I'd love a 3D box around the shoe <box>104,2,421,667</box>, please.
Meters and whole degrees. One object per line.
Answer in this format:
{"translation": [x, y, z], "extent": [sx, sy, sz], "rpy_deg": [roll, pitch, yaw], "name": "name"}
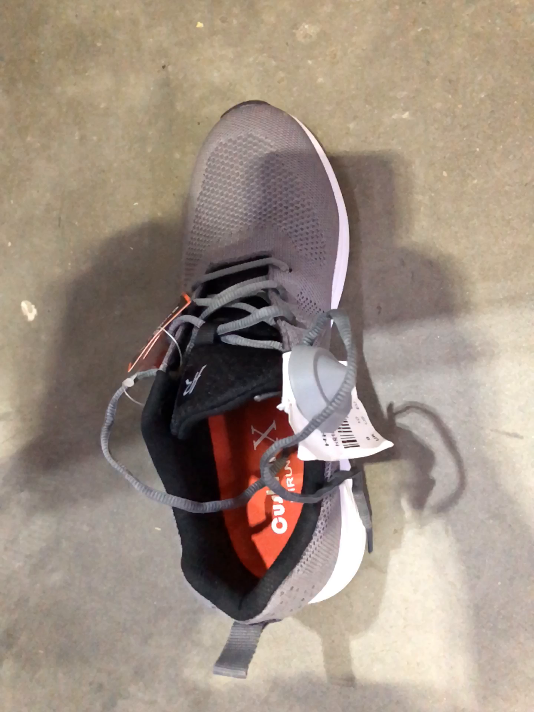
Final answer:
{"translation": [-0.001, -0.010, 0.343], "extent": [0.110, 0.100, 0.320], "rpy_deg": [-12, 81, 19], "name": "shoe"}
